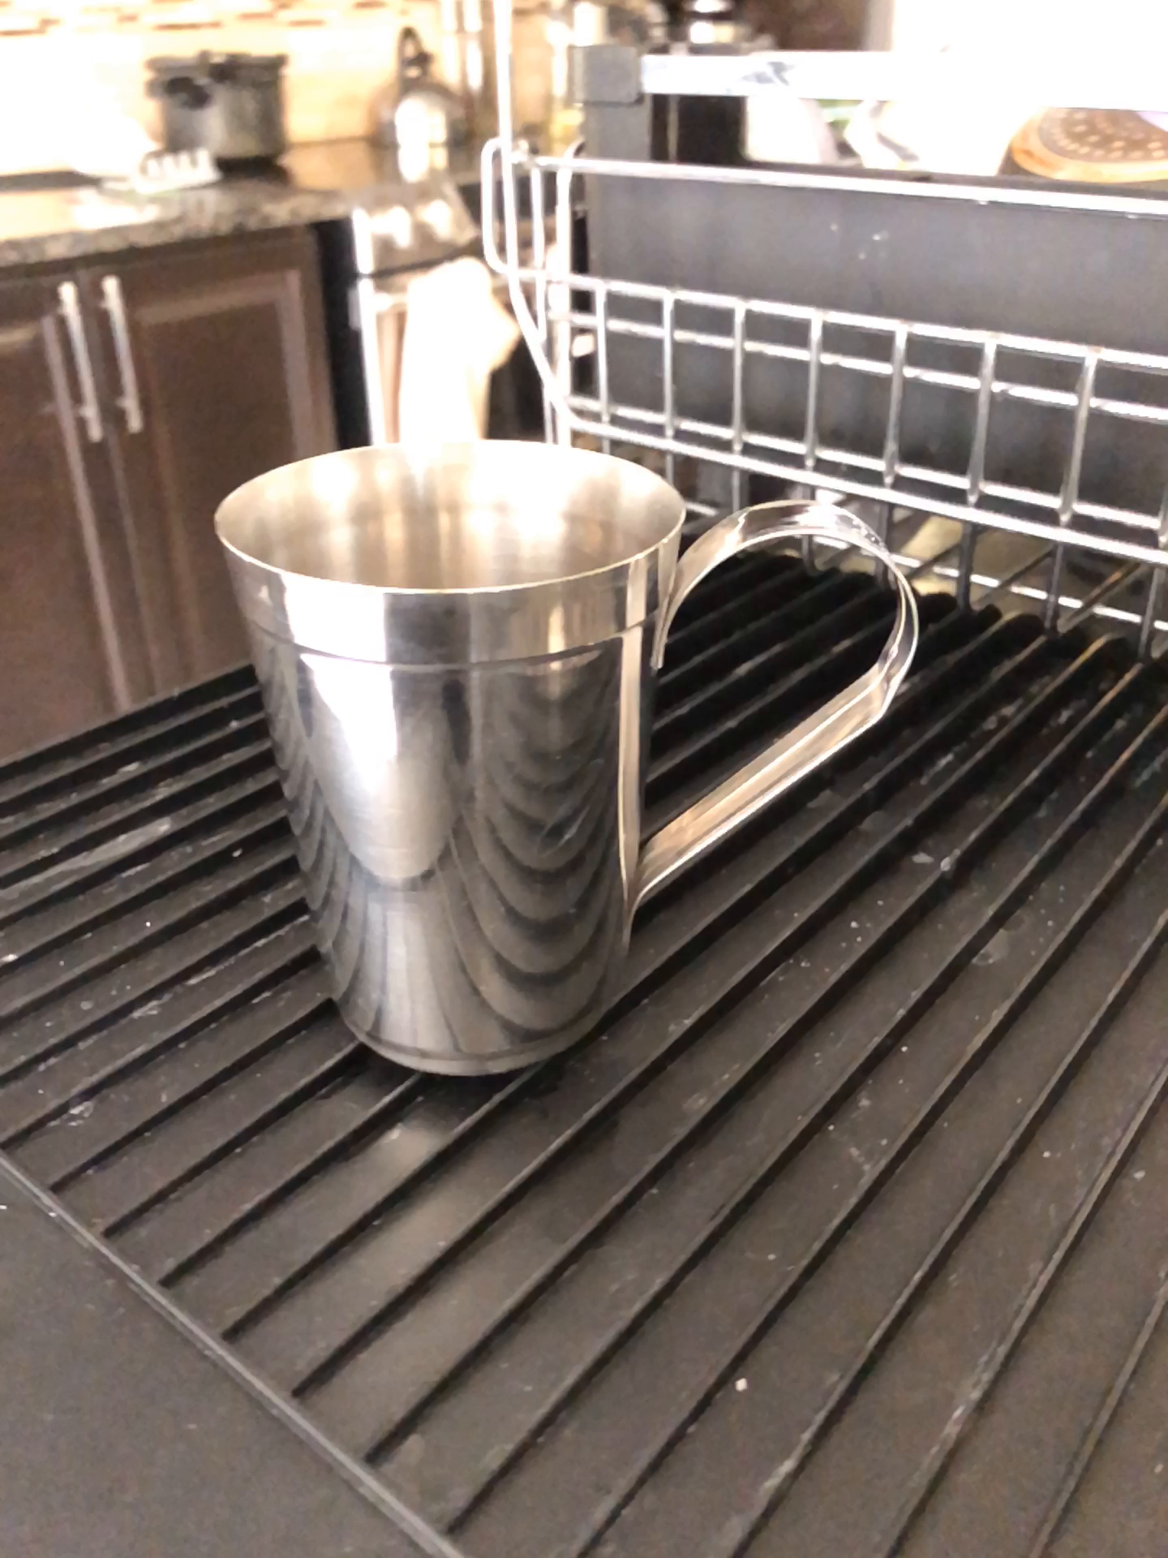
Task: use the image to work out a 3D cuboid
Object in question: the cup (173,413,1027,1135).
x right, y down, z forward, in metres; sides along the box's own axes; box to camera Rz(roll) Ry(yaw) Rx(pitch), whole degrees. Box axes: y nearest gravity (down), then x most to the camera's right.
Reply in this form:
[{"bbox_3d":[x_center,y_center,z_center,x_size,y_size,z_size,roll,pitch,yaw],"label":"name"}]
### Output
[{"bbox_3d":[0.001,-0.003,0.221,0.110,0.097,0.066,-3,30,-3],"label":"cup"}]
